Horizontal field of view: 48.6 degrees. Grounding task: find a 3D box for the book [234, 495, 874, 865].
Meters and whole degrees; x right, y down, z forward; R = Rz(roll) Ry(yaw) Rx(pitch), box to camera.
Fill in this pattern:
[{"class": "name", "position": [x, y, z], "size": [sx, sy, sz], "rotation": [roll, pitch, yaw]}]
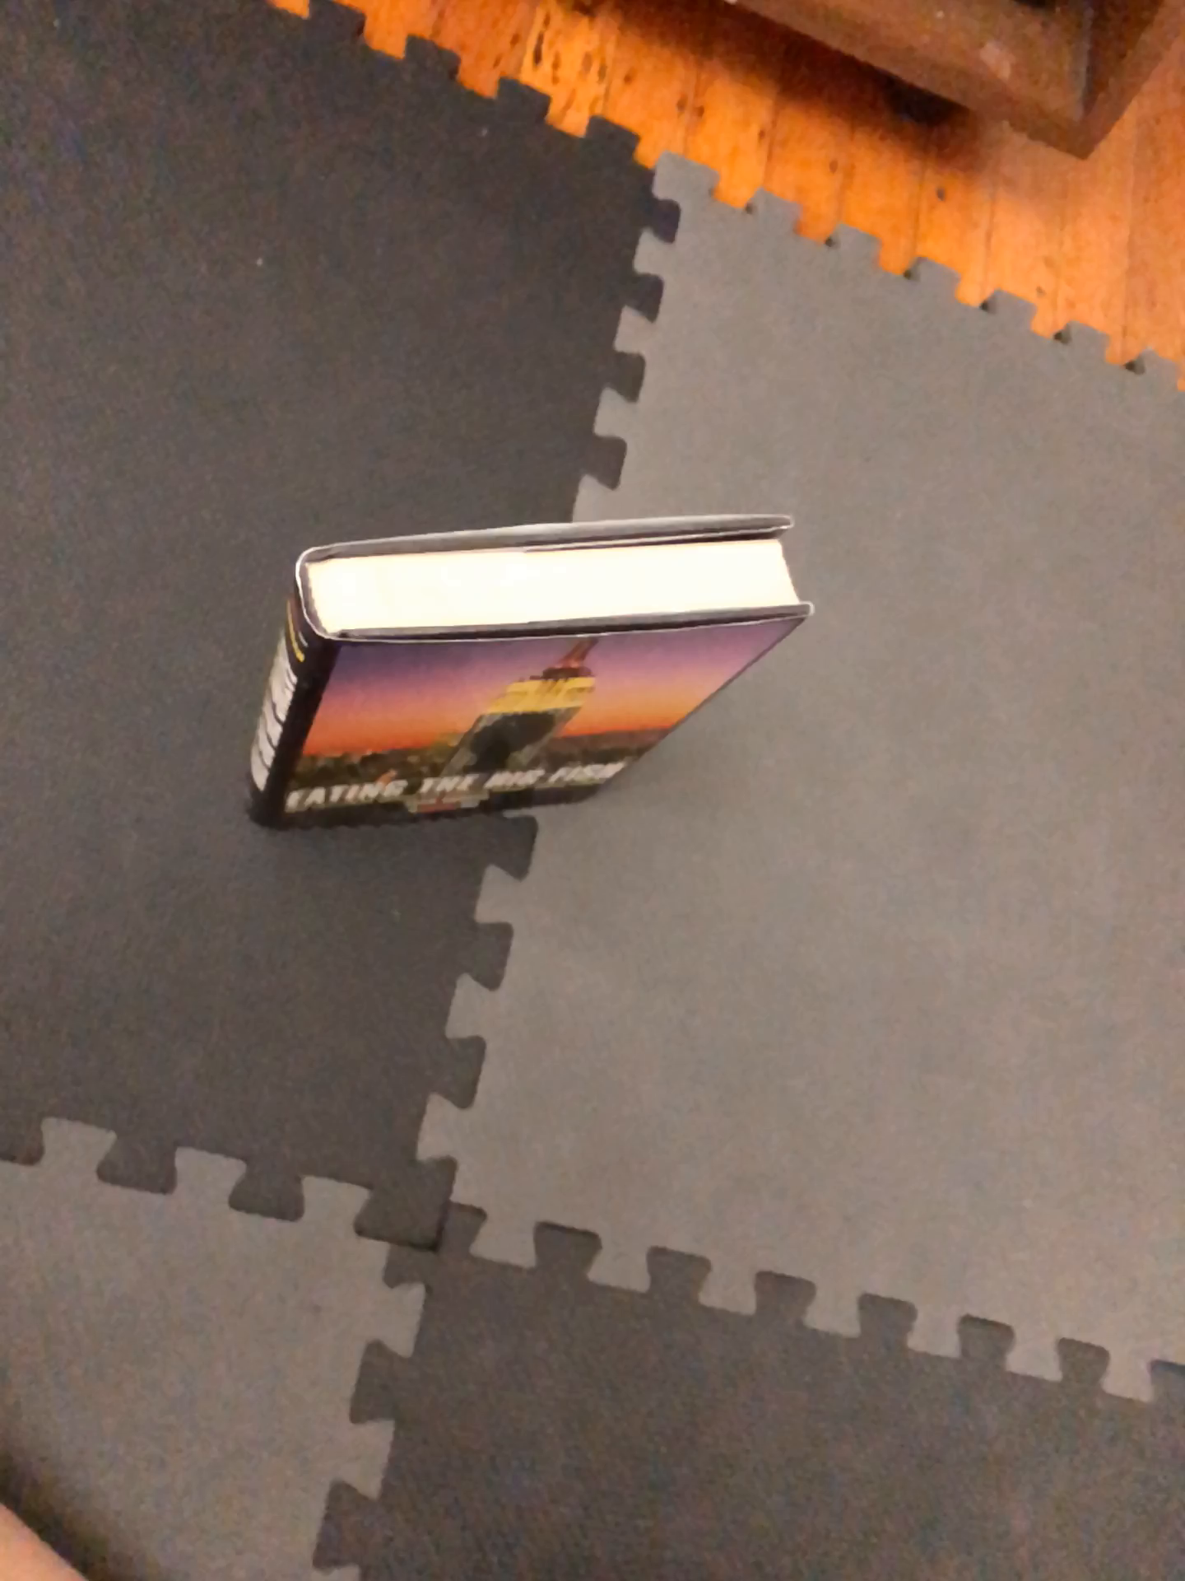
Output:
[{"class": "book", "position": [-0.038, -0.031, 0.513], "size": [0.180, 0.259, 0.050], "rotation": [-8, 80, -20]}]
